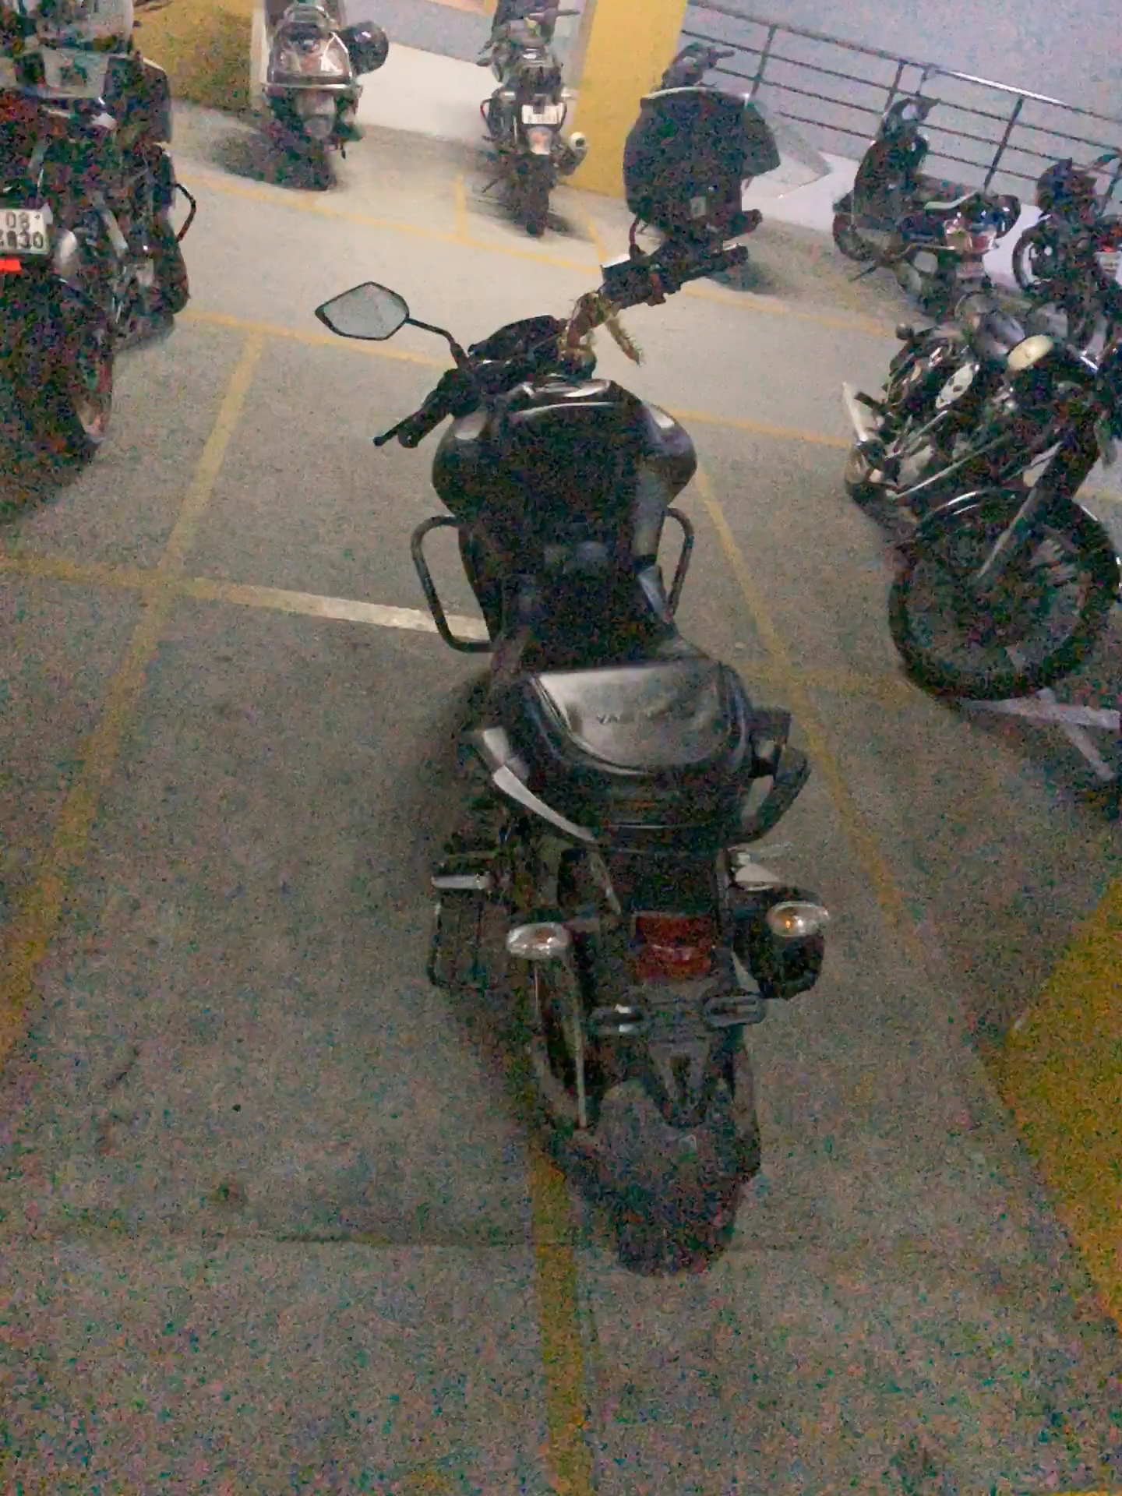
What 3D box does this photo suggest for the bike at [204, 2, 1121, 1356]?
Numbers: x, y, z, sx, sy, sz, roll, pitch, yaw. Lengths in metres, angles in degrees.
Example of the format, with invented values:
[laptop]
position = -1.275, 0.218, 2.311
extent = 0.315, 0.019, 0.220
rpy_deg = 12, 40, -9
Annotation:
[bike]
position = -0.109, -0.245, 1.790
extent = 0.786, 1.097, 1.742
rpy_deg = 2, 40, -19
